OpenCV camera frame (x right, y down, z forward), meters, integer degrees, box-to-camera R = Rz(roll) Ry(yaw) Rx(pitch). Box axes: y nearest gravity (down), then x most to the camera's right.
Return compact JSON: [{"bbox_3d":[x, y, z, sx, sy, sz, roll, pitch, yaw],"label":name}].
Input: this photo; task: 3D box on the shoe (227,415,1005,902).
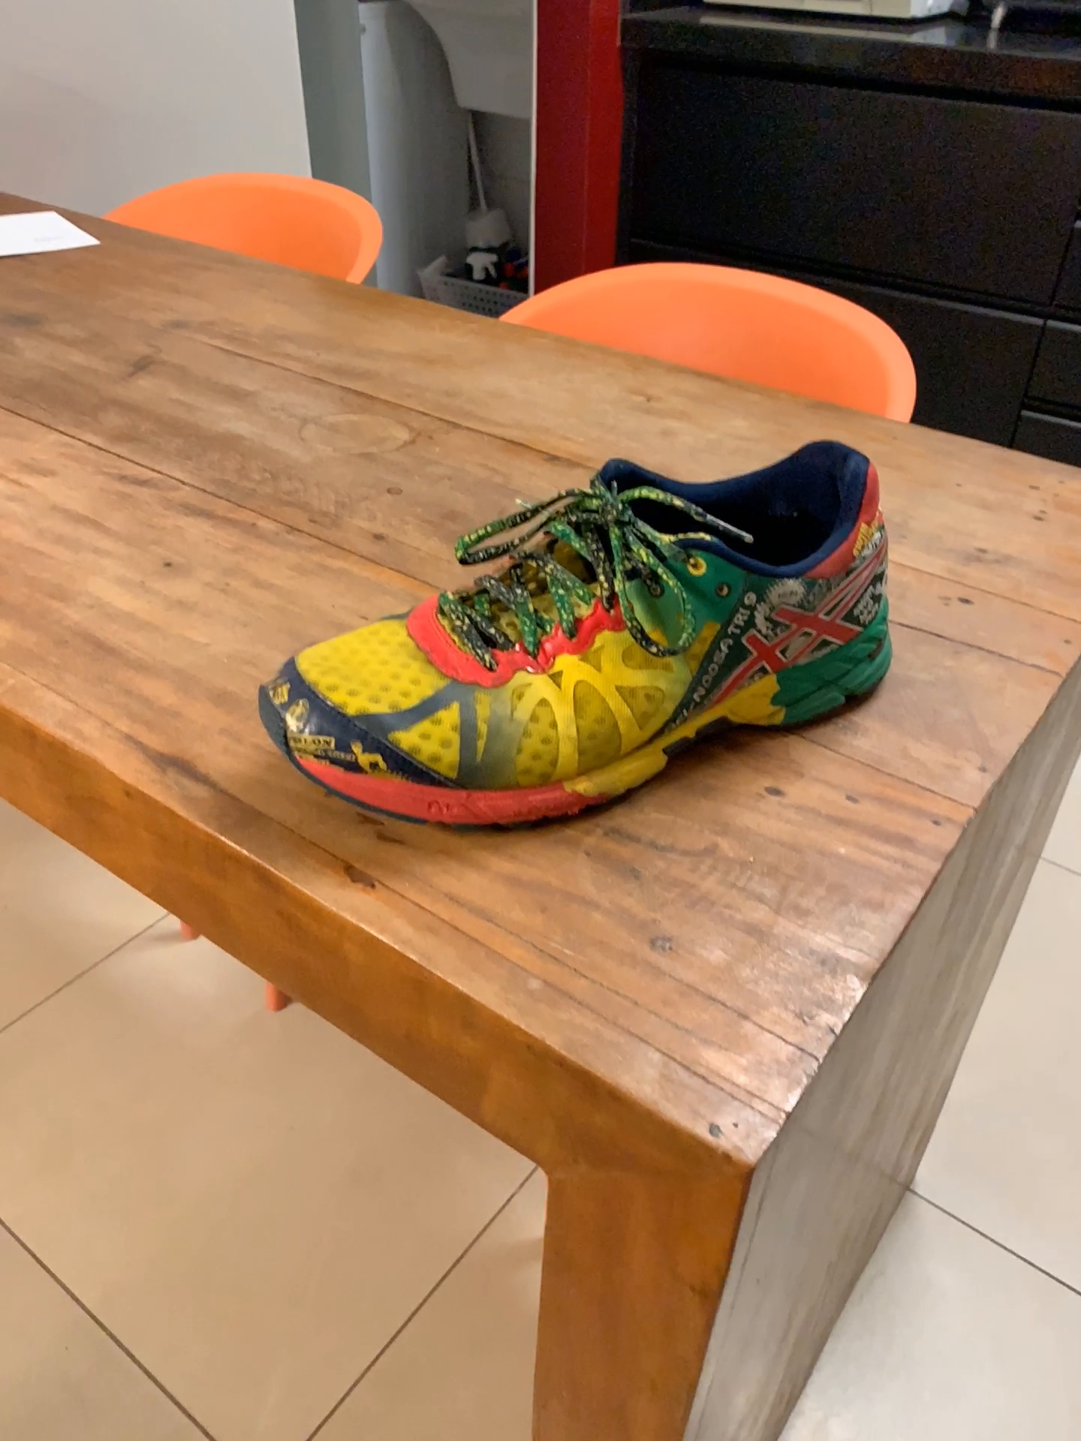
[{"bbox_3d":[0.033,-0.040,0.478,0.295,0.102,0.114,-15,40,-20],"label":"shoe"}]
